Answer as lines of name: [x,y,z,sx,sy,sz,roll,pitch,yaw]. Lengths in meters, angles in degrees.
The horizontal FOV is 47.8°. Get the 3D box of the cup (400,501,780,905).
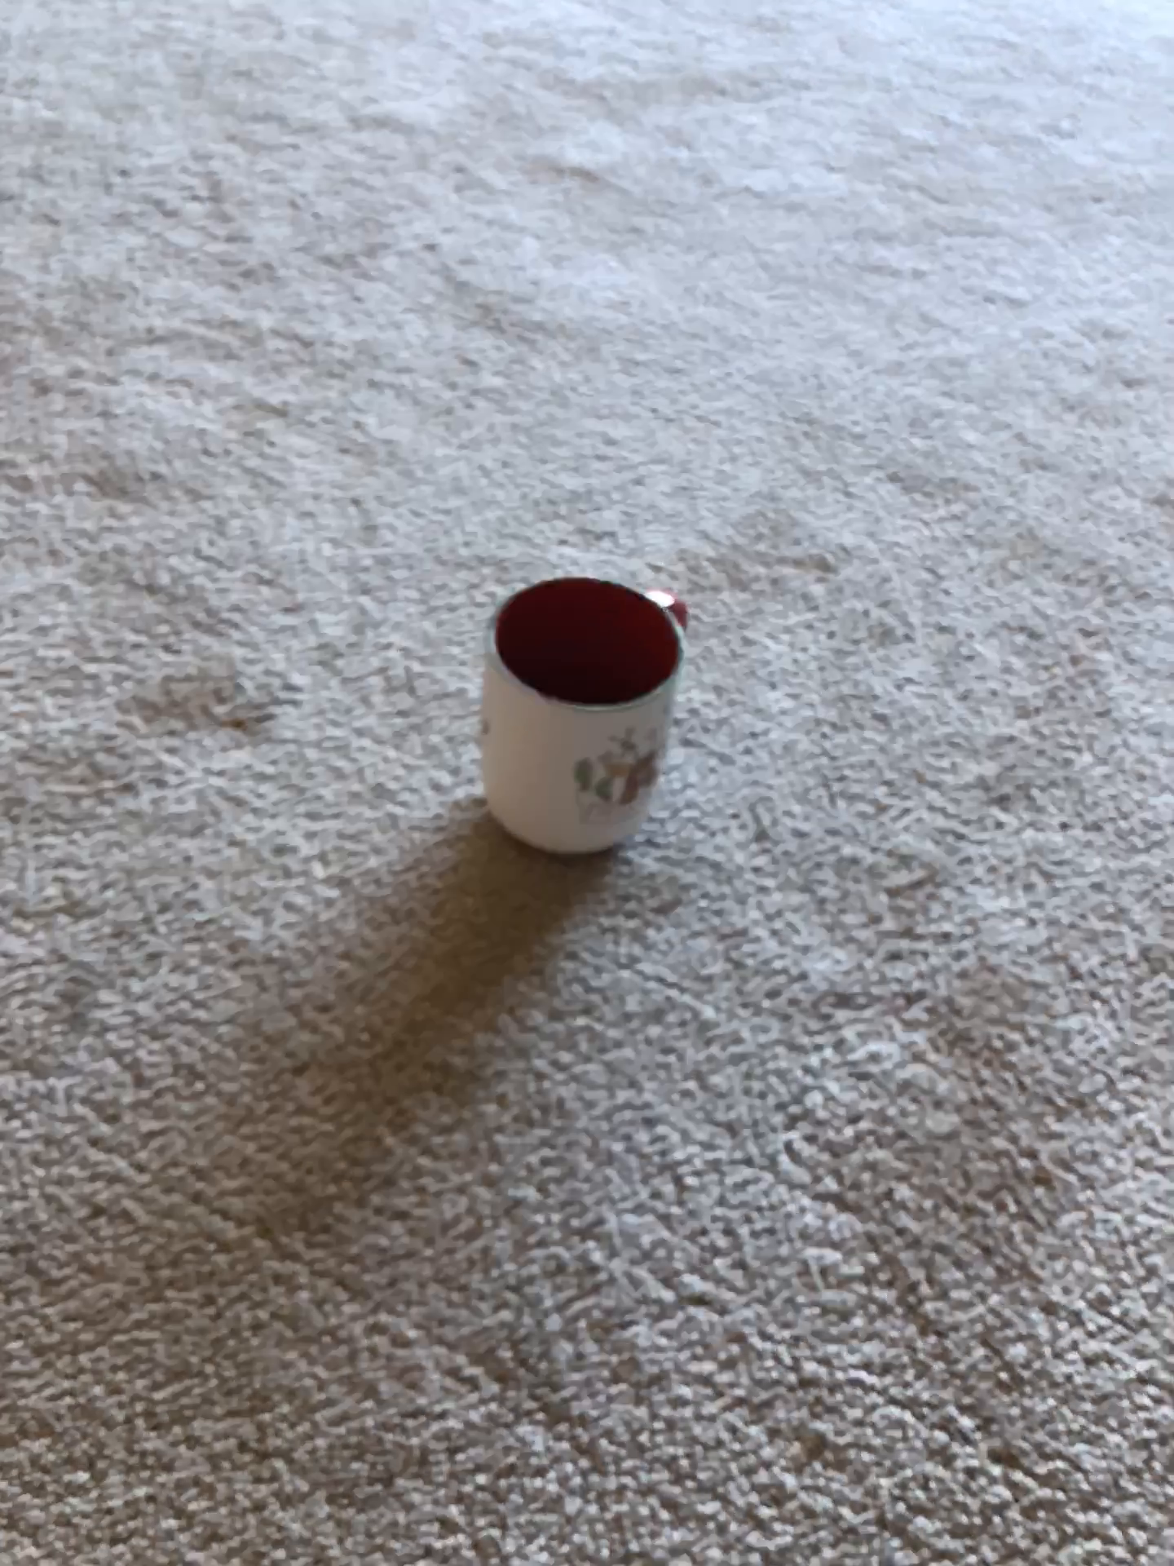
cup: [0.001,-0.040,0.607,0.100,0.090,0.140,32,53,22]
